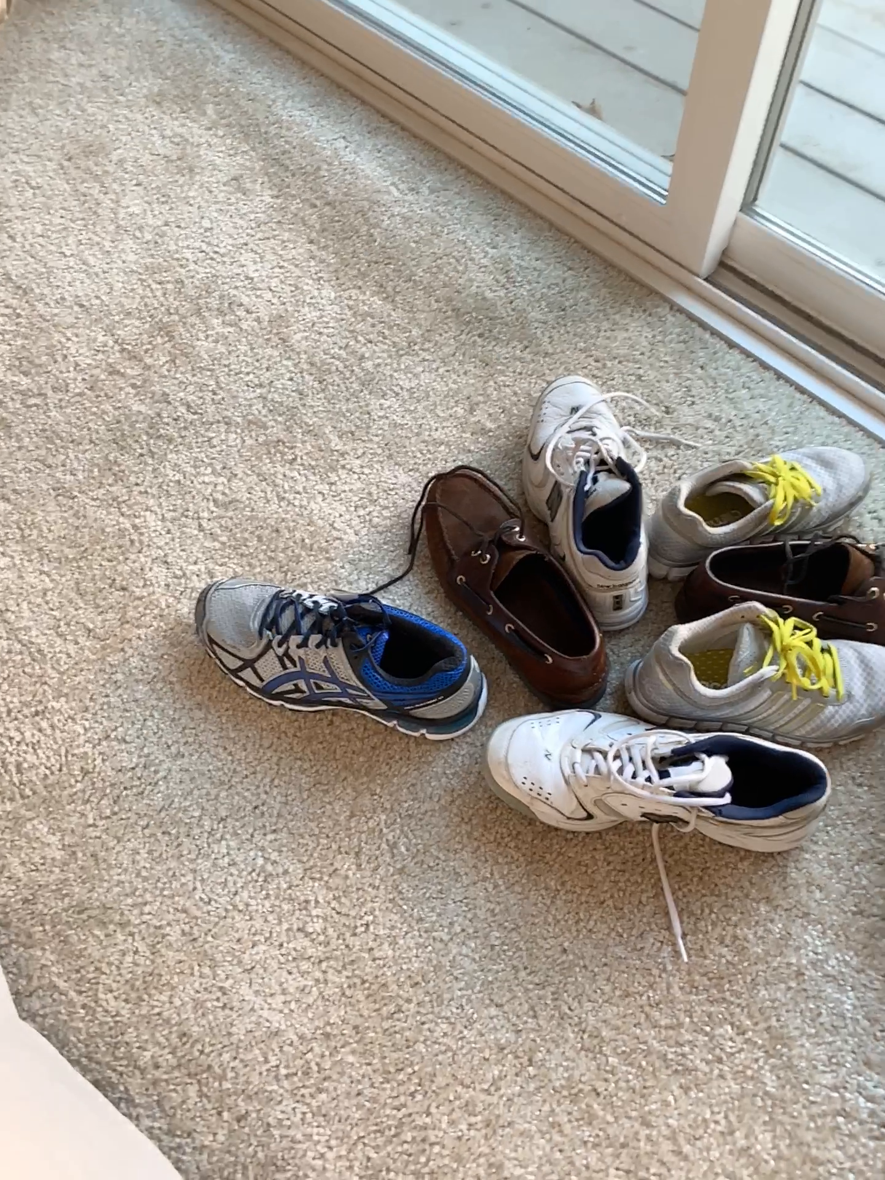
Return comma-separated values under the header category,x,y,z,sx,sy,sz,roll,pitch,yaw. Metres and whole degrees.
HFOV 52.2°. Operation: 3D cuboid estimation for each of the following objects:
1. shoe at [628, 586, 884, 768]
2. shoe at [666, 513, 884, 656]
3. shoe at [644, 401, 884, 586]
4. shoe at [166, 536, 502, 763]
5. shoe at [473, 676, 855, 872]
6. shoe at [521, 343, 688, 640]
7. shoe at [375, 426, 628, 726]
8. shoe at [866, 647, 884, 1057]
category,x,y,z,sx,sy,sz,roll,pitch,yaw
shoe,0.280,0.072,0.739,0.240,0.090,0.100,5,61,4
shoe,0.360,-0.005,0.835,0.280,0.080,0.100,1,61,2
shoe,0.325,-0.094,0.867,0.230,0.060,0.100,-18,61,-9
shoe,-0.092,0.052,0.819,0.270,0.090,0.110,15,62,12
shoe,0.172,0.152,0.744,0.280,0.110,0.090,7,61,8
shoe,0.149,-0.101,0.893,0.100,0.110,0.271,-6,59,-1
shoe,0.051,-0.018,0.892,0.100,0.110,0.271,-30,63,-14
shoe,0.435,0.203,0.721,0.110,0.110,0.291,3,62,4
